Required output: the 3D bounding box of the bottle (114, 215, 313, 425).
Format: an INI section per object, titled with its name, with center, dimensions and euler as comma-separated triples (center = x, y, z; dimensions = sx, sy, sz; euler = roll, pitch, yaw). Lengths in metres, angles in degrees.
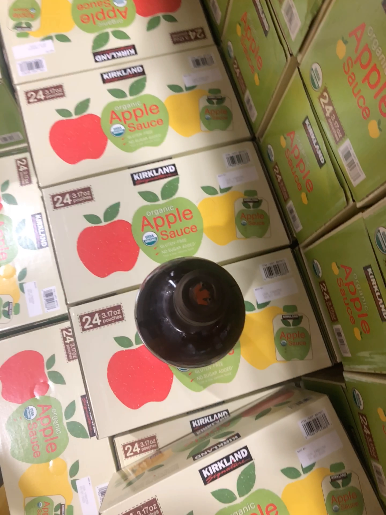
[bottle]
center = 0.001, 0.059, 0.361
dimensions = 0.090, 0.220, 0.100
euler = -19, 79, -10
